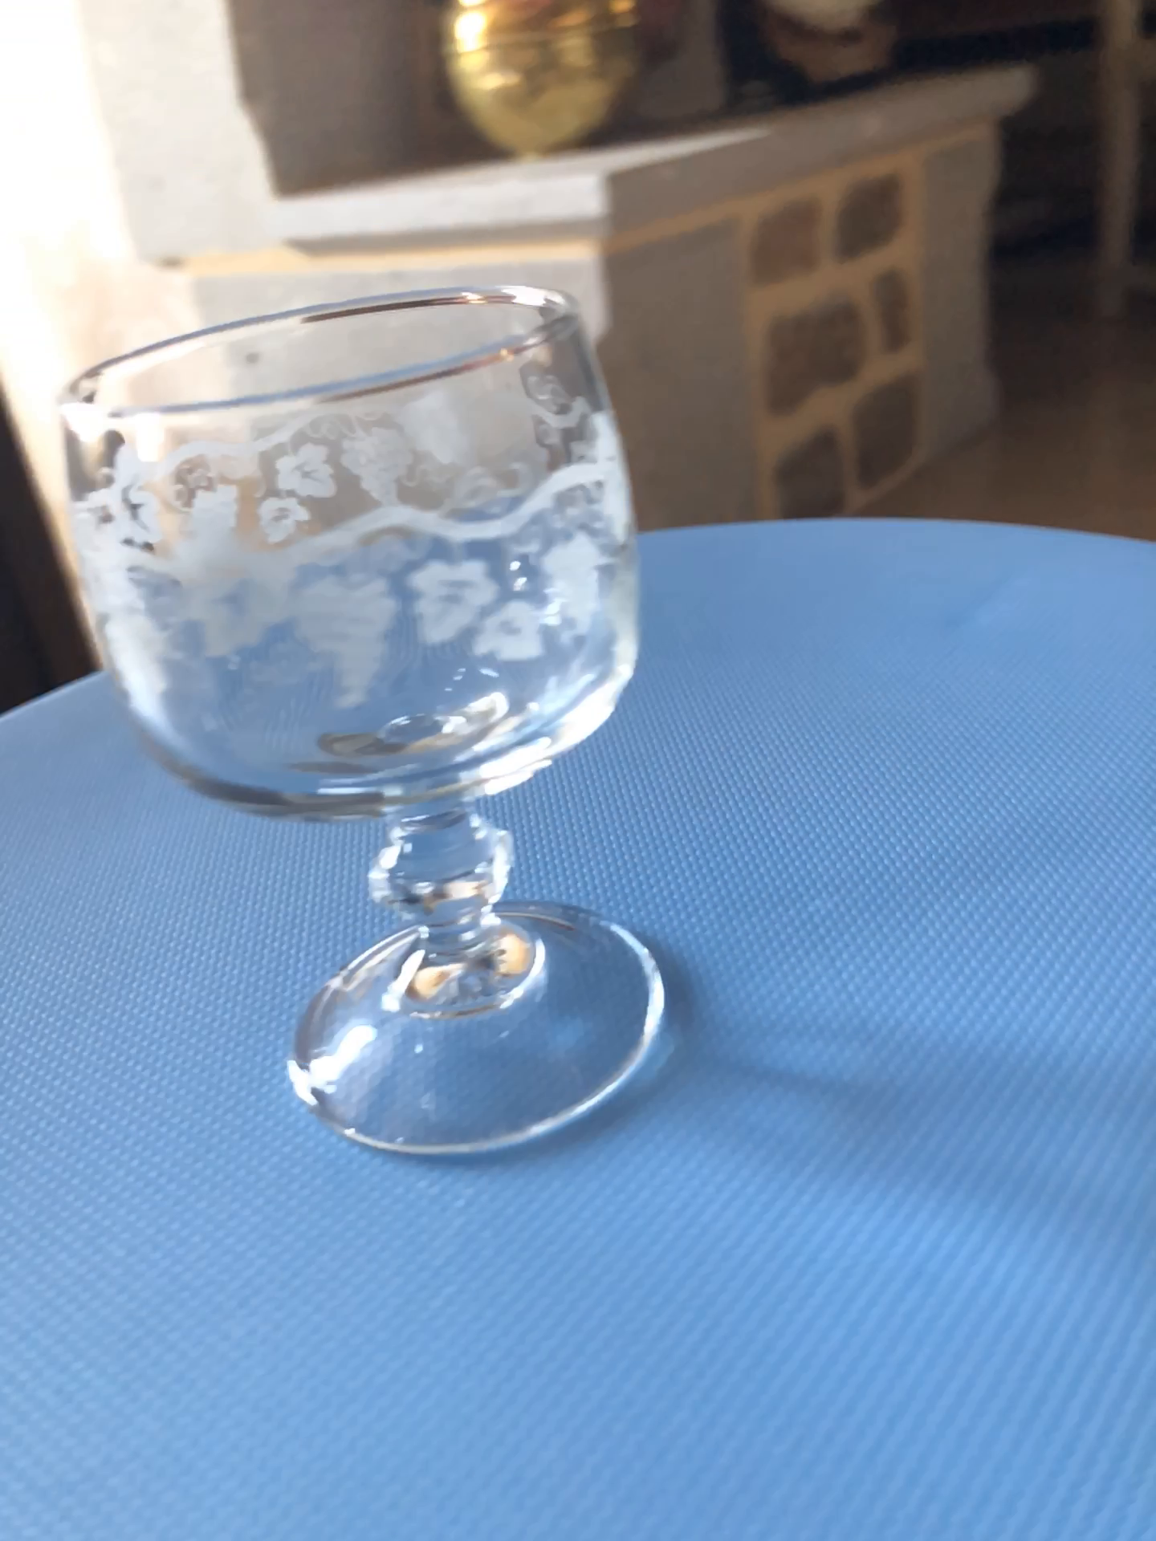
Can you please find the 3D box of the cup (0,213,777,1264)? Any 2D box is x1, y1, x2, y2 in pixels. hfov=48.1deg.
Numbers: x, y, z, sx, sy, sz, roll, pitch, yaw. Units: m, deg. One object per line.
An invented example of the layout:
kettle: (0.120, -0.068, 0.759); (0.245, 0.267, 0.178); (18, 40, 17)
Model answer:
cup: (-0.021, -0.008, 0.134); (0.060, 0.080, 0.060); (-7, 28, 4)
